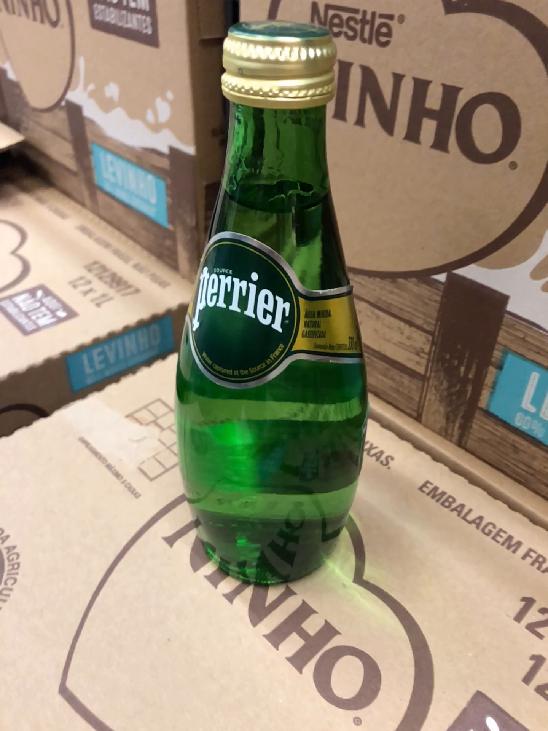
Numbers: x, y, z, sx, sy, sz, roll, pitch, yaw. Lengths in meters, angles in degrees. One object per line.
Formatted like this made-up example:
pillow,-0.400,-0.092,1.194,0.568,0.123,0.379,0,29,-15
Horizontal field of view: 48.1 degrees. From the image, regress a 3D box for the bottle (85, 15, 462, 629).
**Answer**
bottle,0.001,-0.005,0.198,0.070,0.179,0.060,17,39,20
